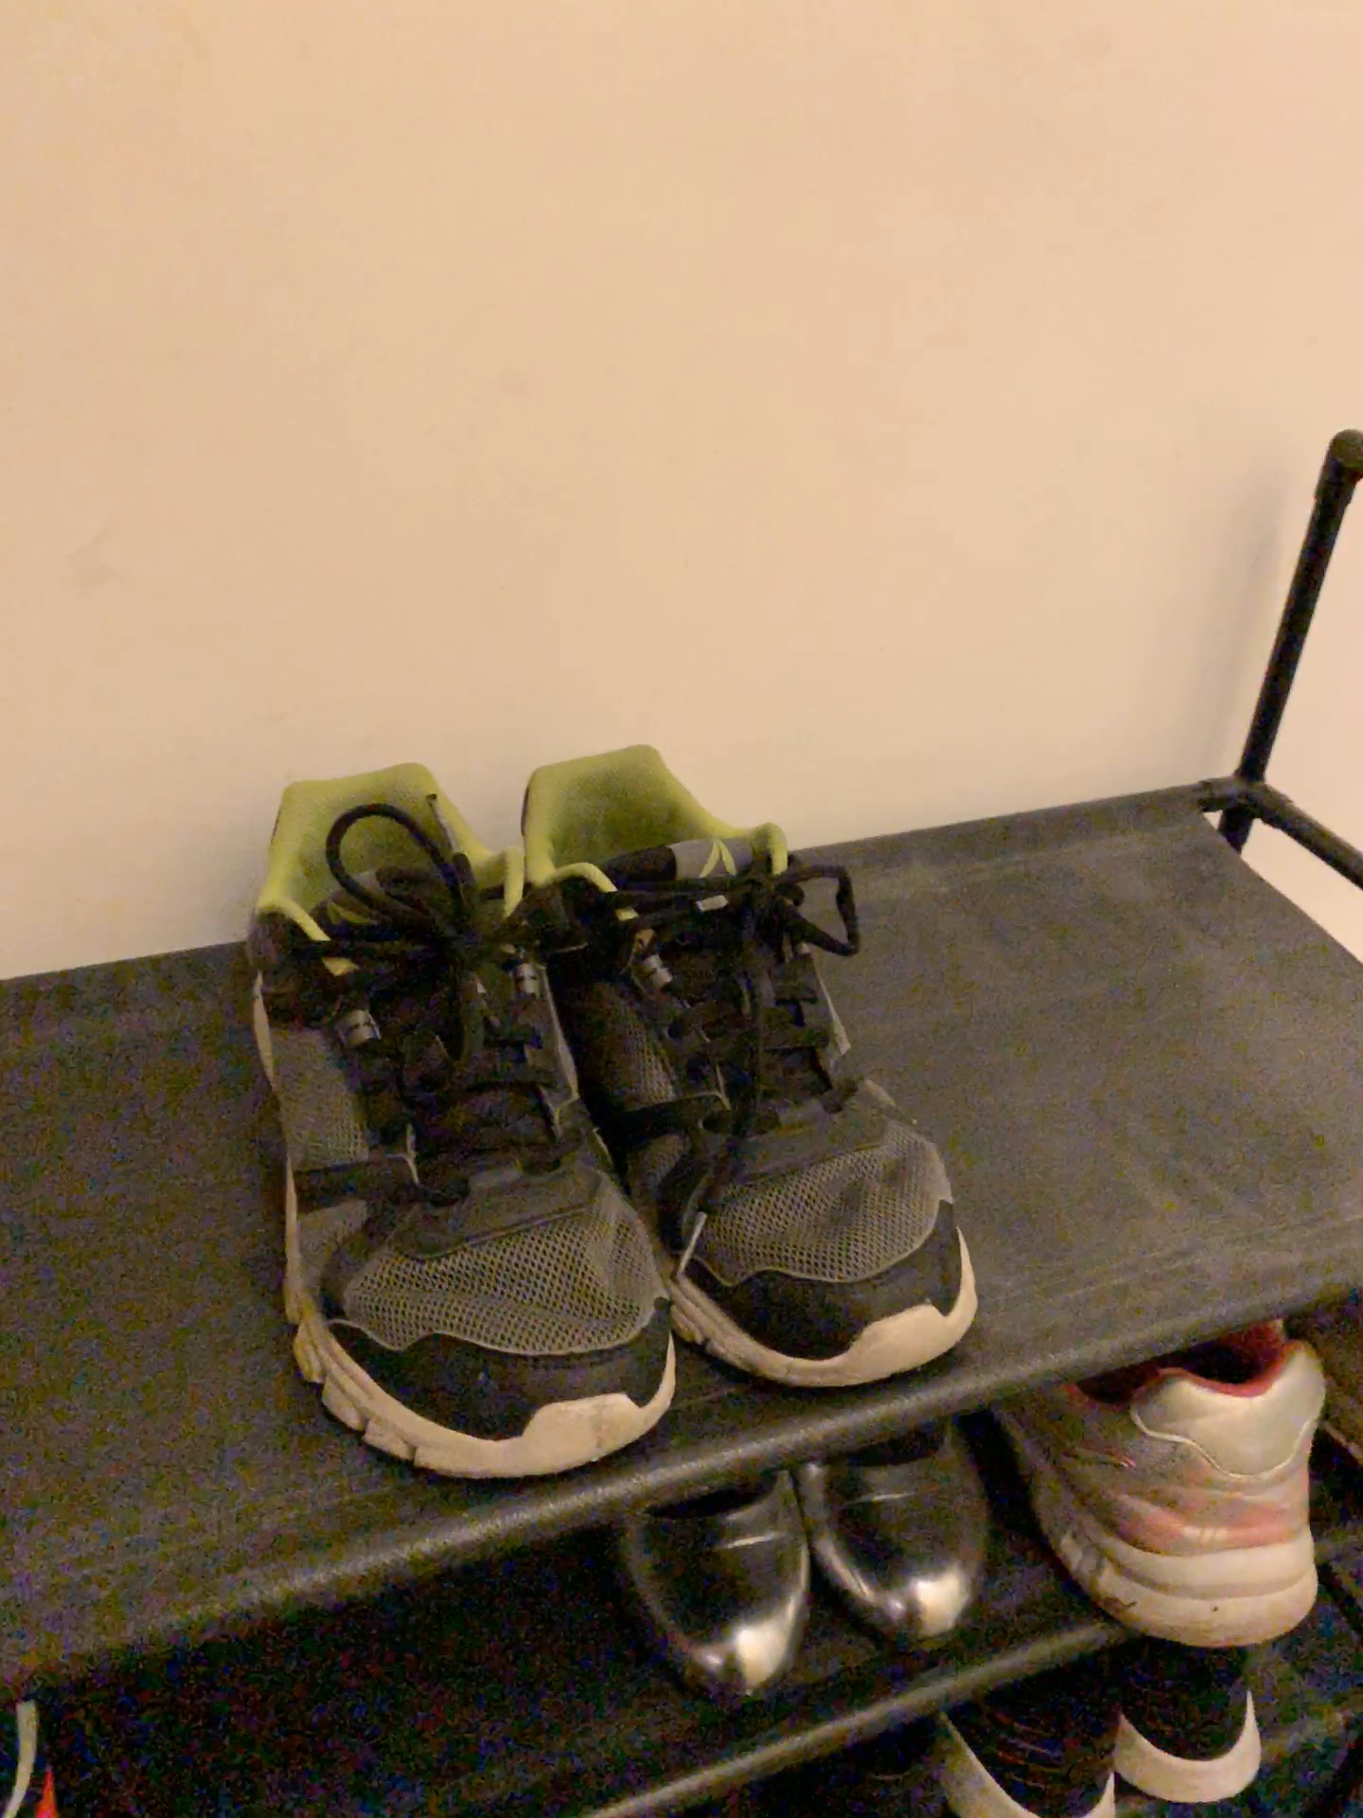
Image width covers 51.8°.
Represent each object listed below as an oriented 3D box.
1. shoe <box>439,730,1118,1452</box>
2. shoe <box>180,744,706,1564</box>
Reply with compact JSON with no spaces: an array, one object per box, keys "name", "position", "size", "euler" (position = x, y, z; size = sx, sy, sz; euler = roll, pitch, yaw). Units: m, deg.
[{"name":"shoe","position":[0.010,0.034,0.463],"size":[0.110,0.069,0.262],"euler":[-11,35,-21]},{"name":"shoe","position":[-0.088,0.052,0.446],"size":[0.100,0.099,0.252],"euler":[-10,34,-19]}]
